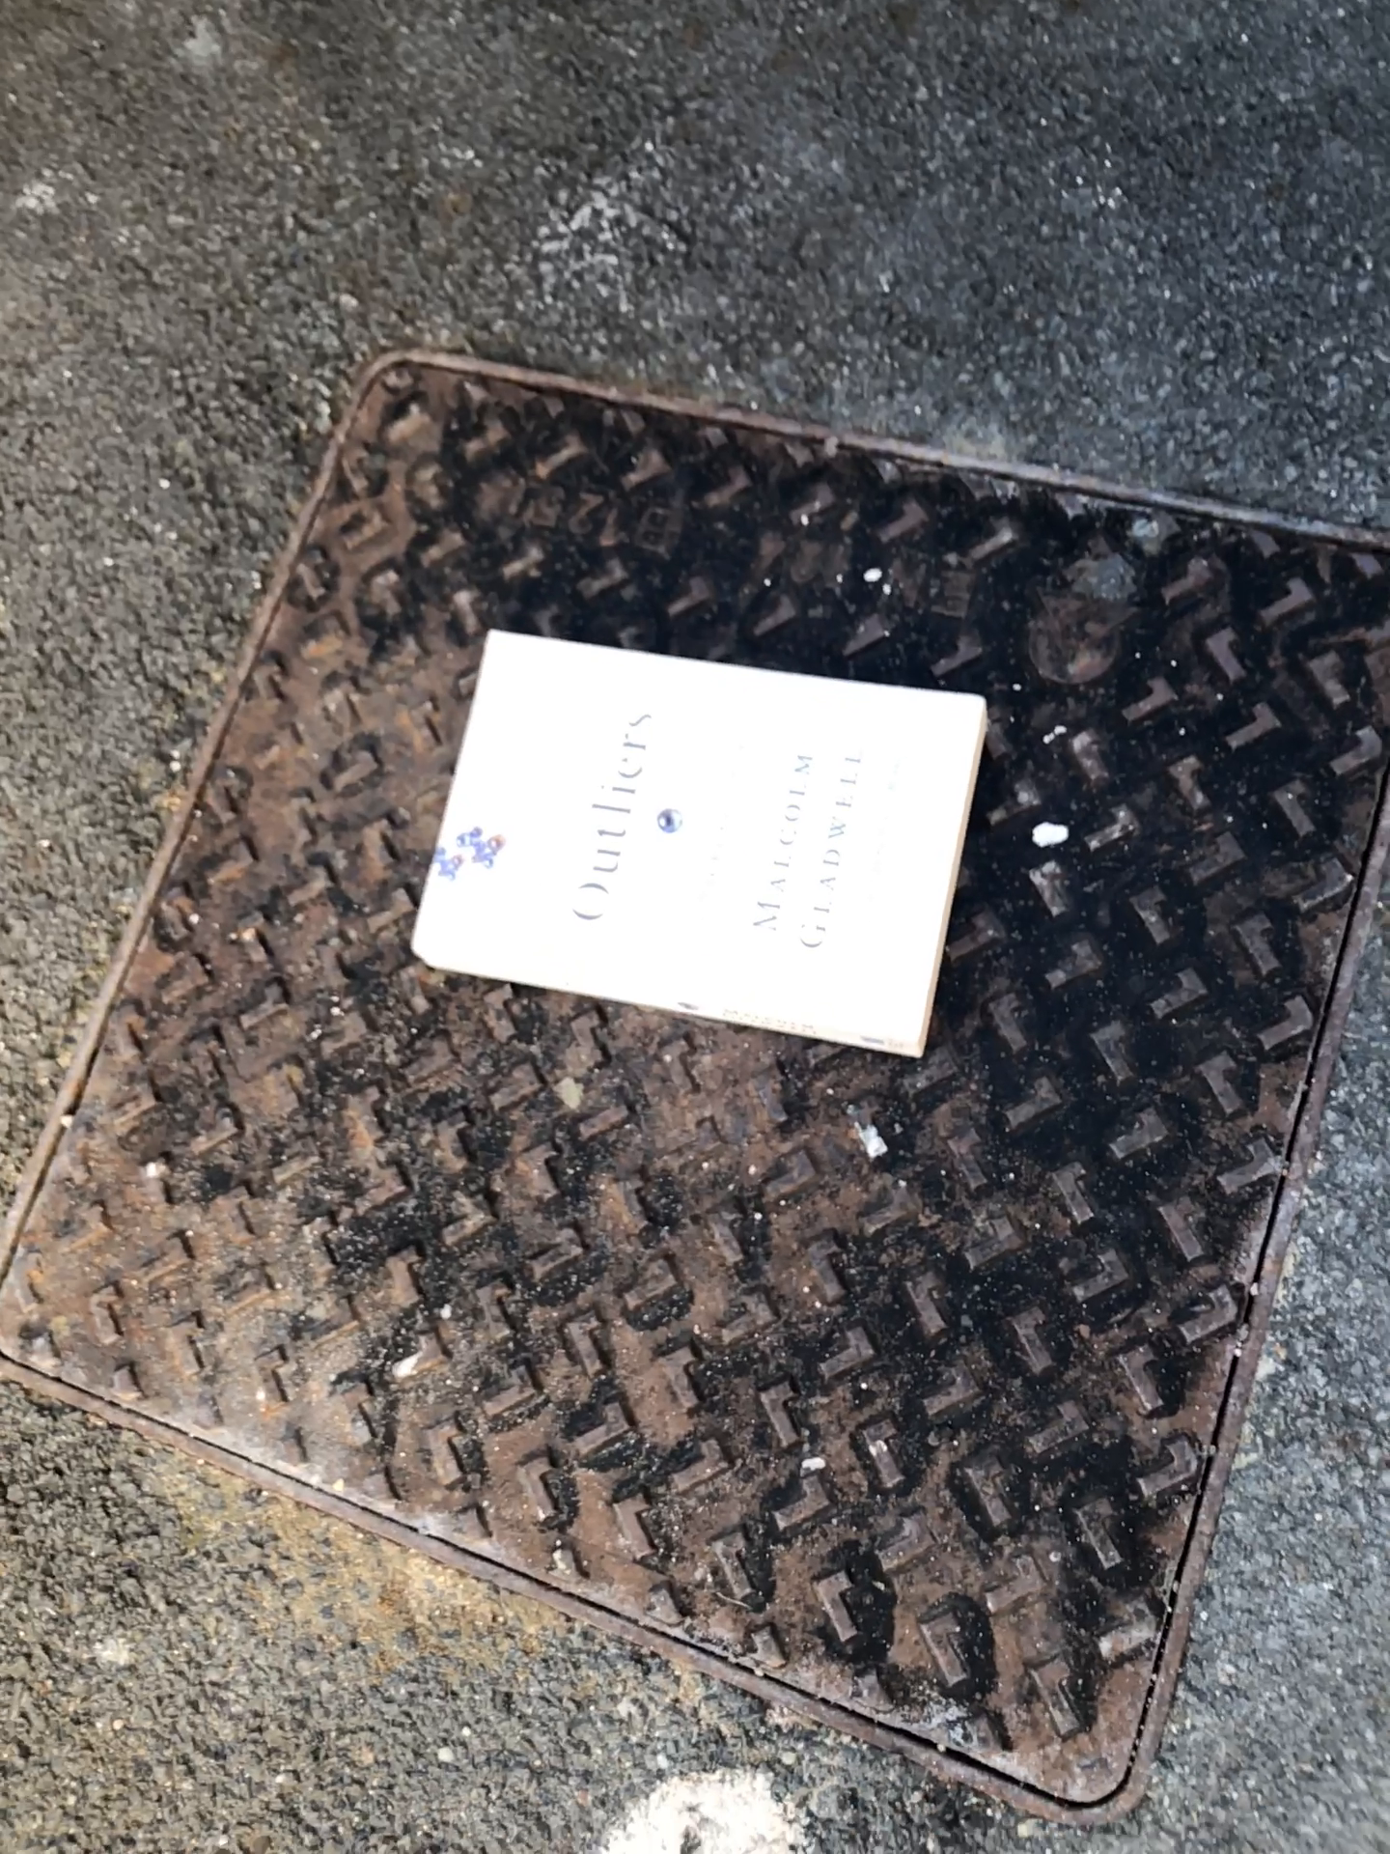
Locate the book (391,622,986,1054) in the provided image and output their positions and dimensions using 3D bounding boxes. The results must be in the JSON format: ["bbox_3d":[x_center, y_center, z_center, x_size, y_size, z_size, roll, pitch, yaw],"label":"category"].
[{"bbox_3d":[-0.001,-0.039,0.610,0.209,0.030,0.140,10,77,13],"label":"book"}]
